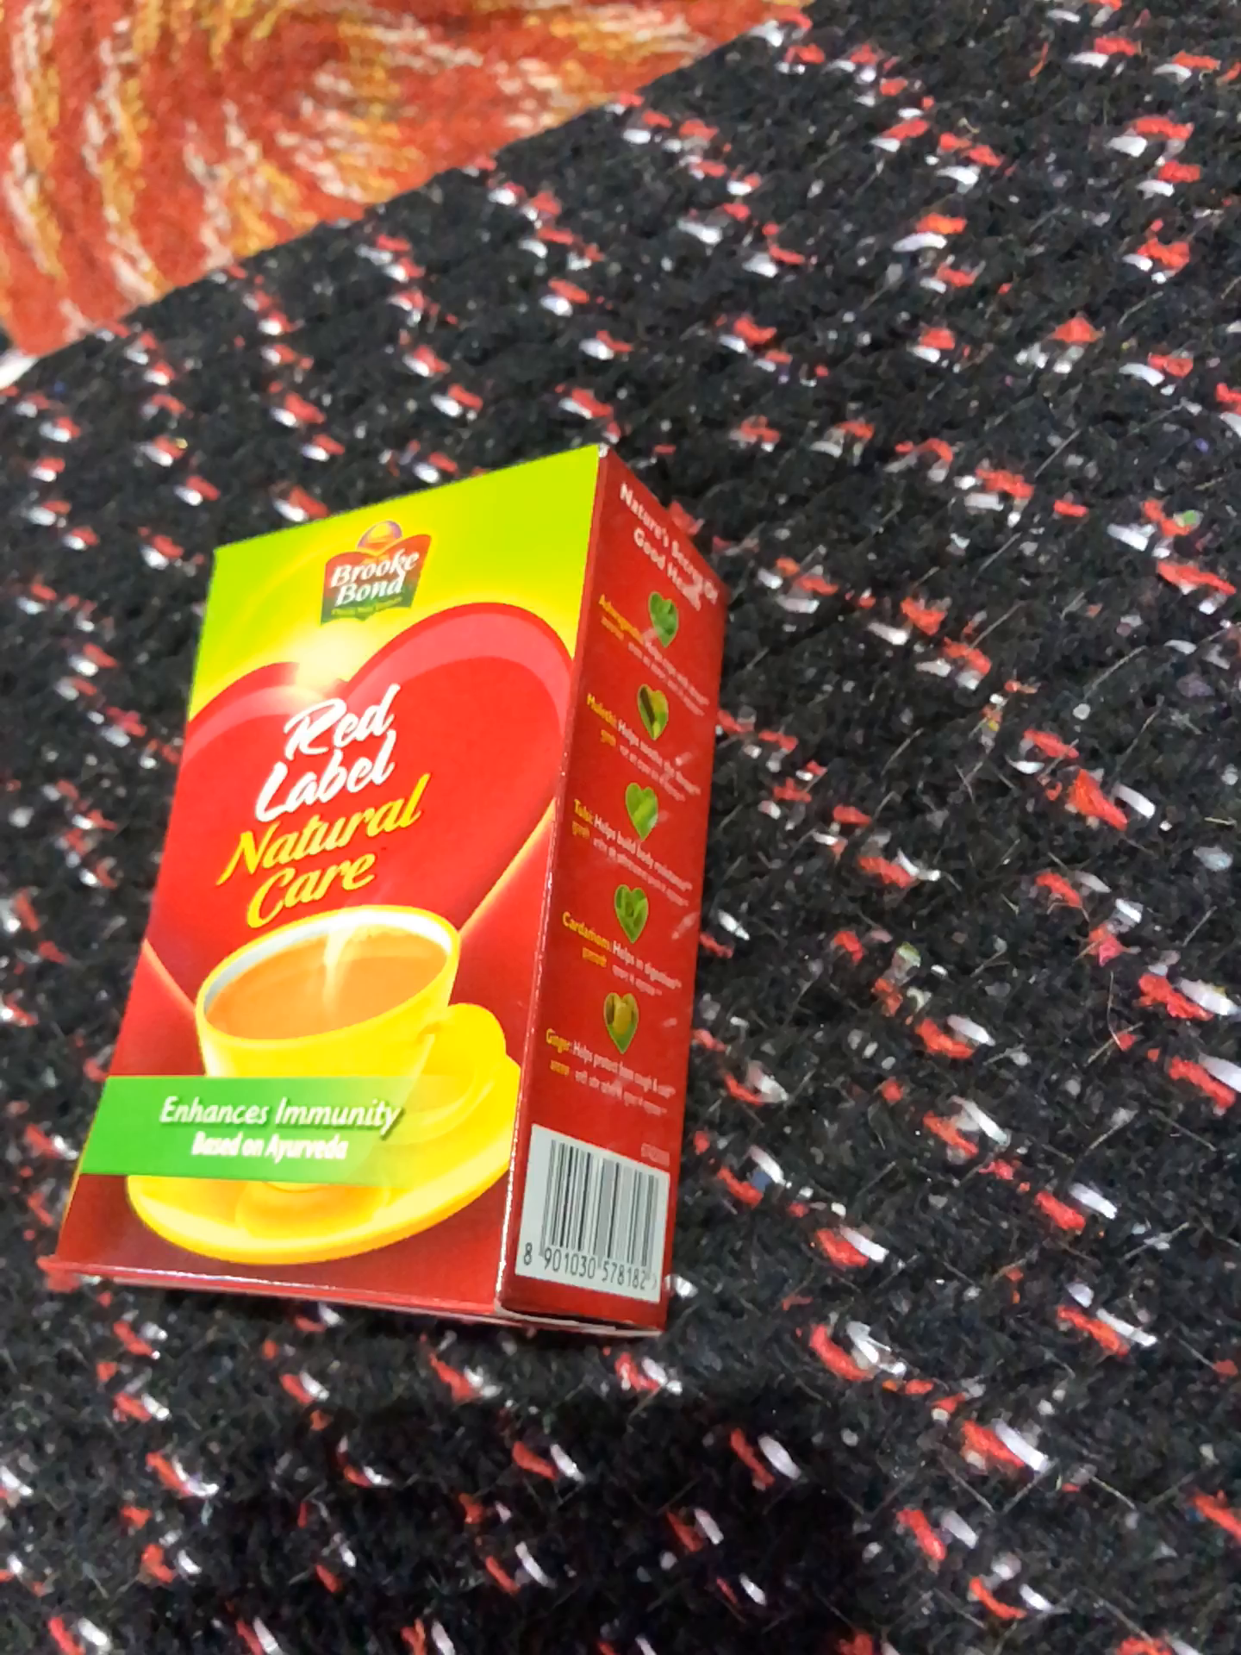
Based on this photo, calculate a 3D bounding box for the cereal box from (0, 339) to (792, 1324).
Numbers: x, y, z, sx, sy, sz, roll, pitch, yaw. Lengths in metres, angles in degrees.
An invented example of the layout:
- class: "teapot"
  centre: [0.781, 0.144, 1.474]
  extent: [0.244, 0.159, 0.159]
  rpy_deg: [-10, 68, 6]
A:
- class: "cereal box"
  centre: [-0.025, 0.003, 0.185]
  extent: [0.080, 0.040, 0.110]
  rpy_deg: [-5, 67, 27]
